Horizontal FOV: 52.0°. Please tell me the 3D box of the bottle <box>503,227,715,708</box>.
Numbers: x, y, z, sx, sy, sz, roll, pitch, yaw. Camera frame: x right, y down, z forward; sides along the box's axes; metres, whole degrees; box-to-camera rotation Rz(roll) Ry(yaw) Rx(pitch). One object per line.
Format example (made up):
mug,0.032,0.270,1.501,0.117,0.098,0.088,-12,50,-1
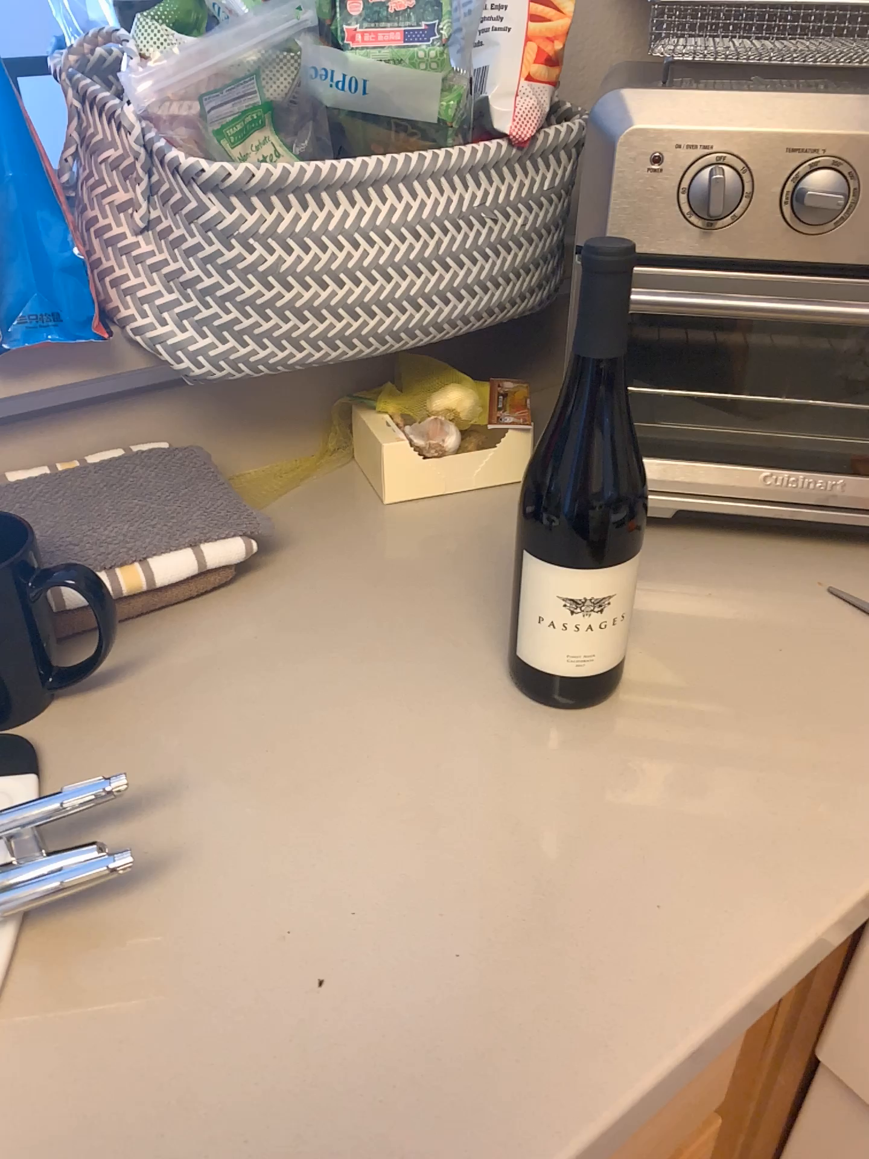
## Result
bottle,0.090,-0.057,0.526,0.080,0.268,0.091,0,32,-1
